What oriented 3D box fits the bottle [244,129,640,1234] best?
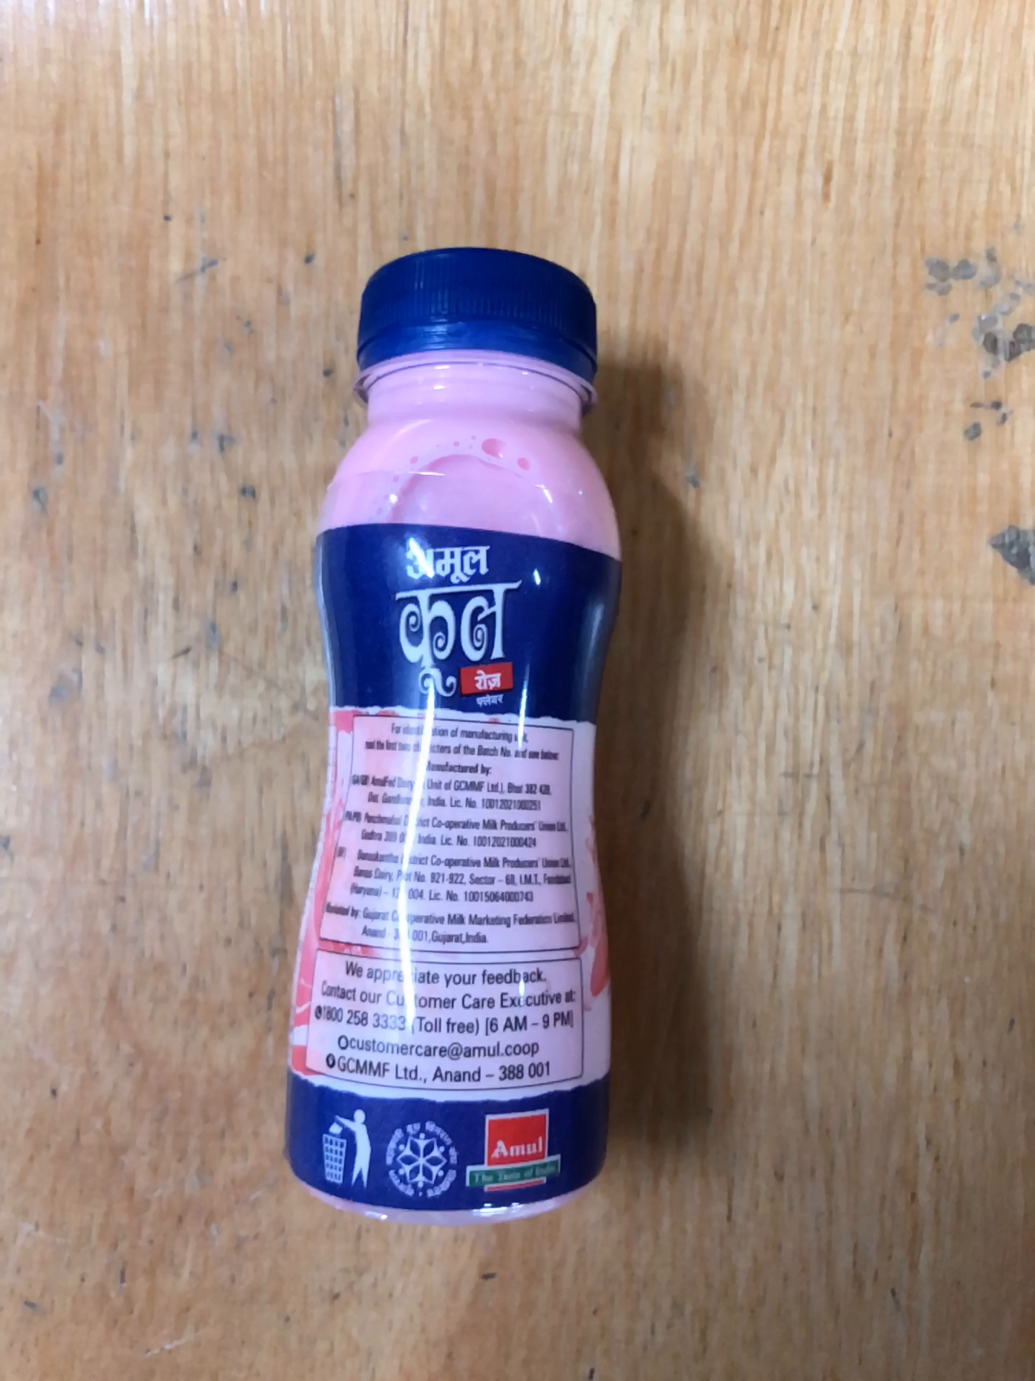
[{"bbox_3d":[-0.010,-0.002,0.180,0.050,0.040,0.150,1,88,-1],"label":"bottle"}]
